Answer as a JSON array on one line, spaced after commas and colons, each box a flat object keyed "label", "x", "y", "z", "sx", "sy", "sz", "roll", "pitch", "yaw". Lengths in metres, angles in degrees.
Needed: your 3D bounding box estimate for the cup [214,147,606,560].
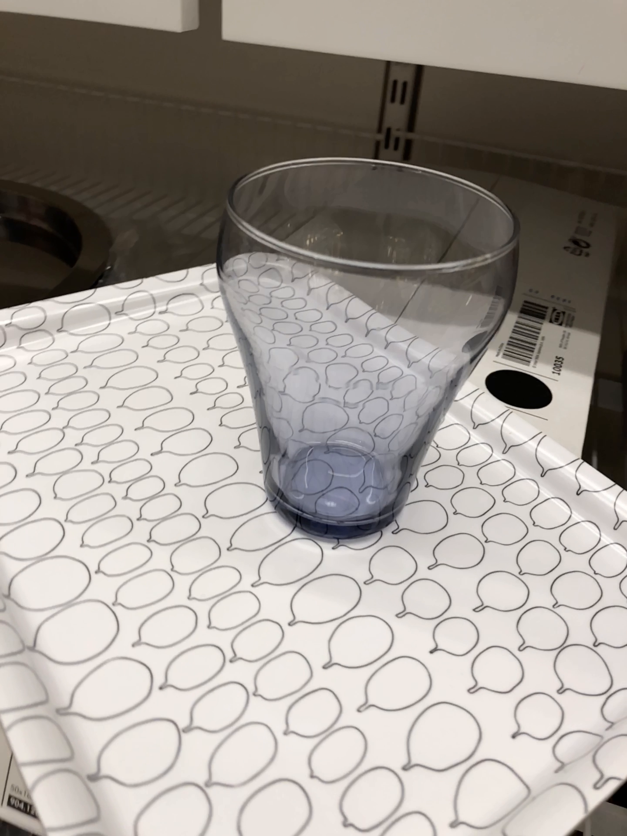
[{"label": "cup", "x": 0.013, "y": -0.023, "z": 0.200, "sx": 0.080, "sy": 0.080, "sz": 0.090, "roll": -1, "pitch": 34, "yaw": -9}]
